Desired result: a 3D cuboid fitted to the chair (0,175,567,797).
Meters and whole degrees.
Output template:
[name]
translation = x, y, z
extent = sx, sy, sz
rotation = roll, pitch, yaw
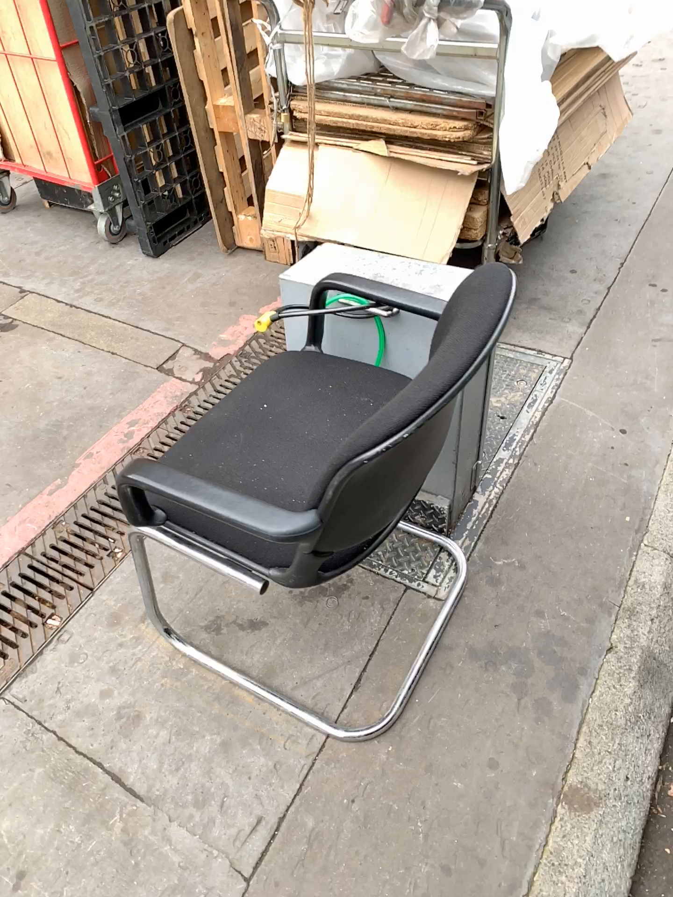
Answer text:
[chair]
translation = -0.045, 0.051, 1.189
extent = 0.602, 0.753, 0.564
rotation = 20, 50, 24
